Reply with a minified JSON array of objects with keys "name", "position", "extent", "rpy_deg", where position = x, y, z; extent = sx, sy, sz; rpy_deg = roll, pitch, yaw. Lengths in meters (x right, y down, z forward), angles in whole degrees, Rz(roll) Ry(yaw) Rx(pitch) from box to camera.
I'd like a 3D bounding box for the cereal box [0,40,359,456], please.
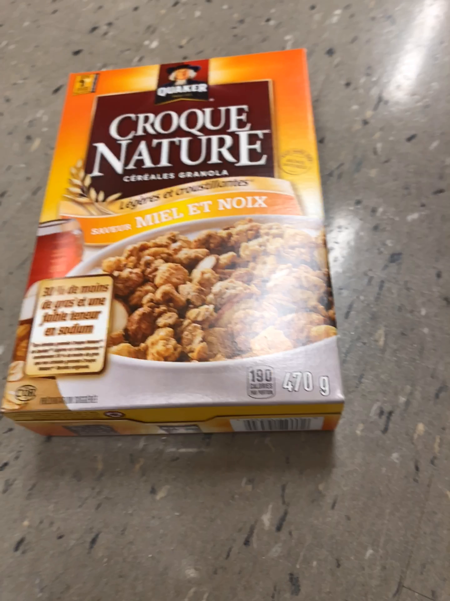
[{"name":"cereal box","position":[-0.022,-0.040,0.293],"extent":[0.160,0.050,0.240],"rpy_deg":[-3,63,6]}]
